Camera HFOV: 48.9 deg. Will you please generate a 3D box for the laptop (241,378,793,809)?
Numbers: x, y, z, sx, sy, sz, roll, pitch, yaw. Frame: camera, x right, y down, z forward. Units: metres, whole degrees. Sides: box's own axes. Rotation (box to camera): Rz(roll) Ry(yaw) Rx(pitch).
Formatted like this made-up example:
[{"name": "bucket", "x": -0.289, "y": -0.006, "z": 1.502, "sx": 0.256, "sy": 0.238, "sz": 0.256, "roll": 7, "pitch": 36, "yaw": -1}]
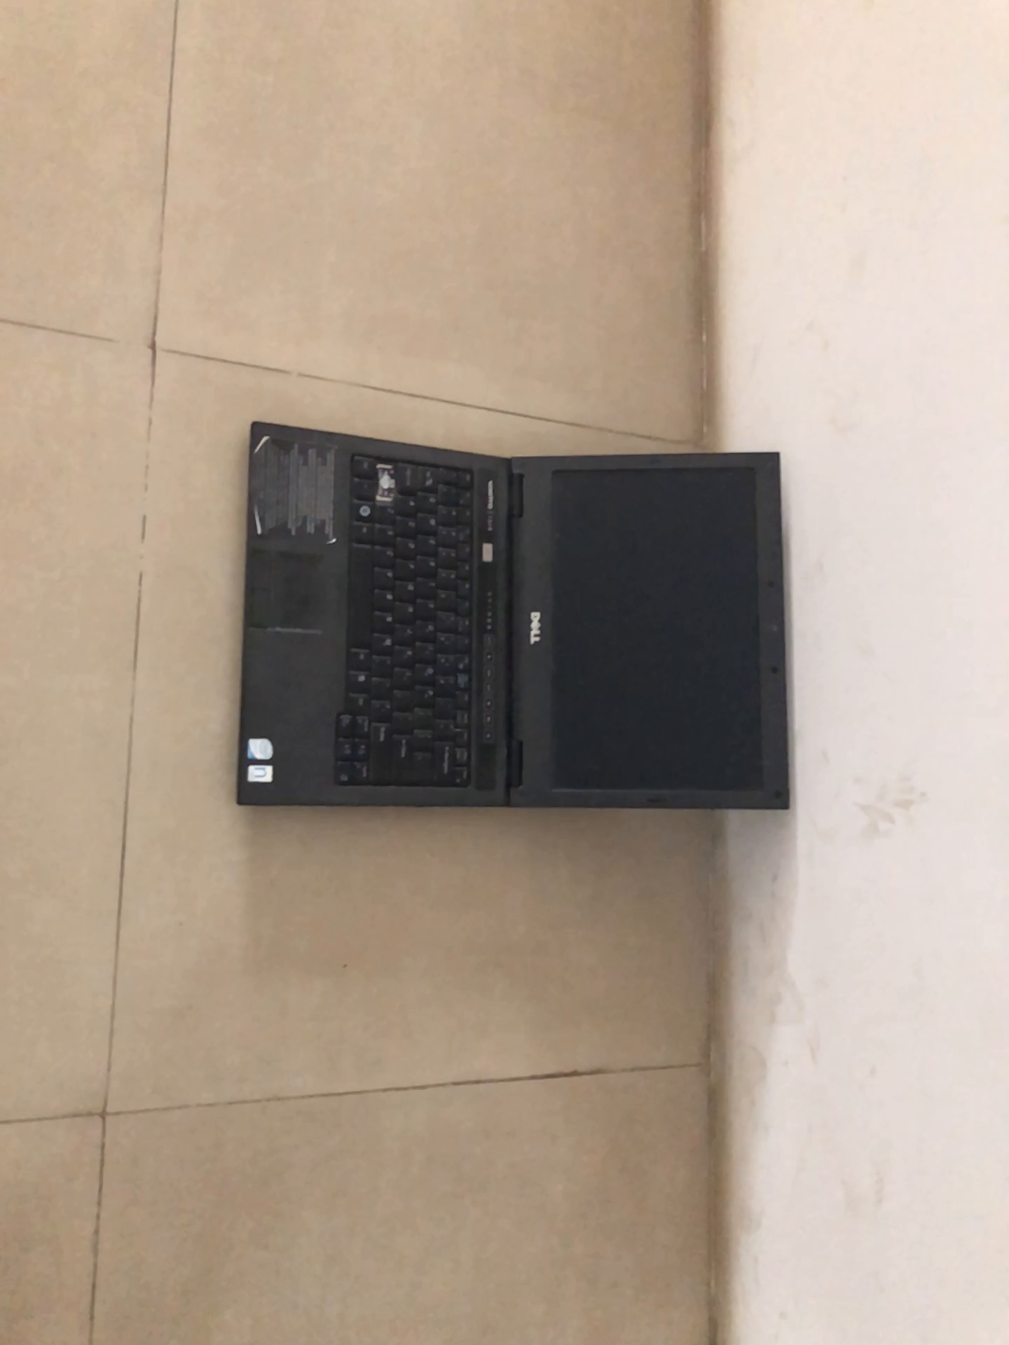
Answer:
[{"name": "laptop", "x": 0.019, "y": -0.043, "z": 0.909, "sx": 0.433, "sy": 0.114, "sz": 0.299, "roll": 4, "pitch": 80, "yaw": -23}]
